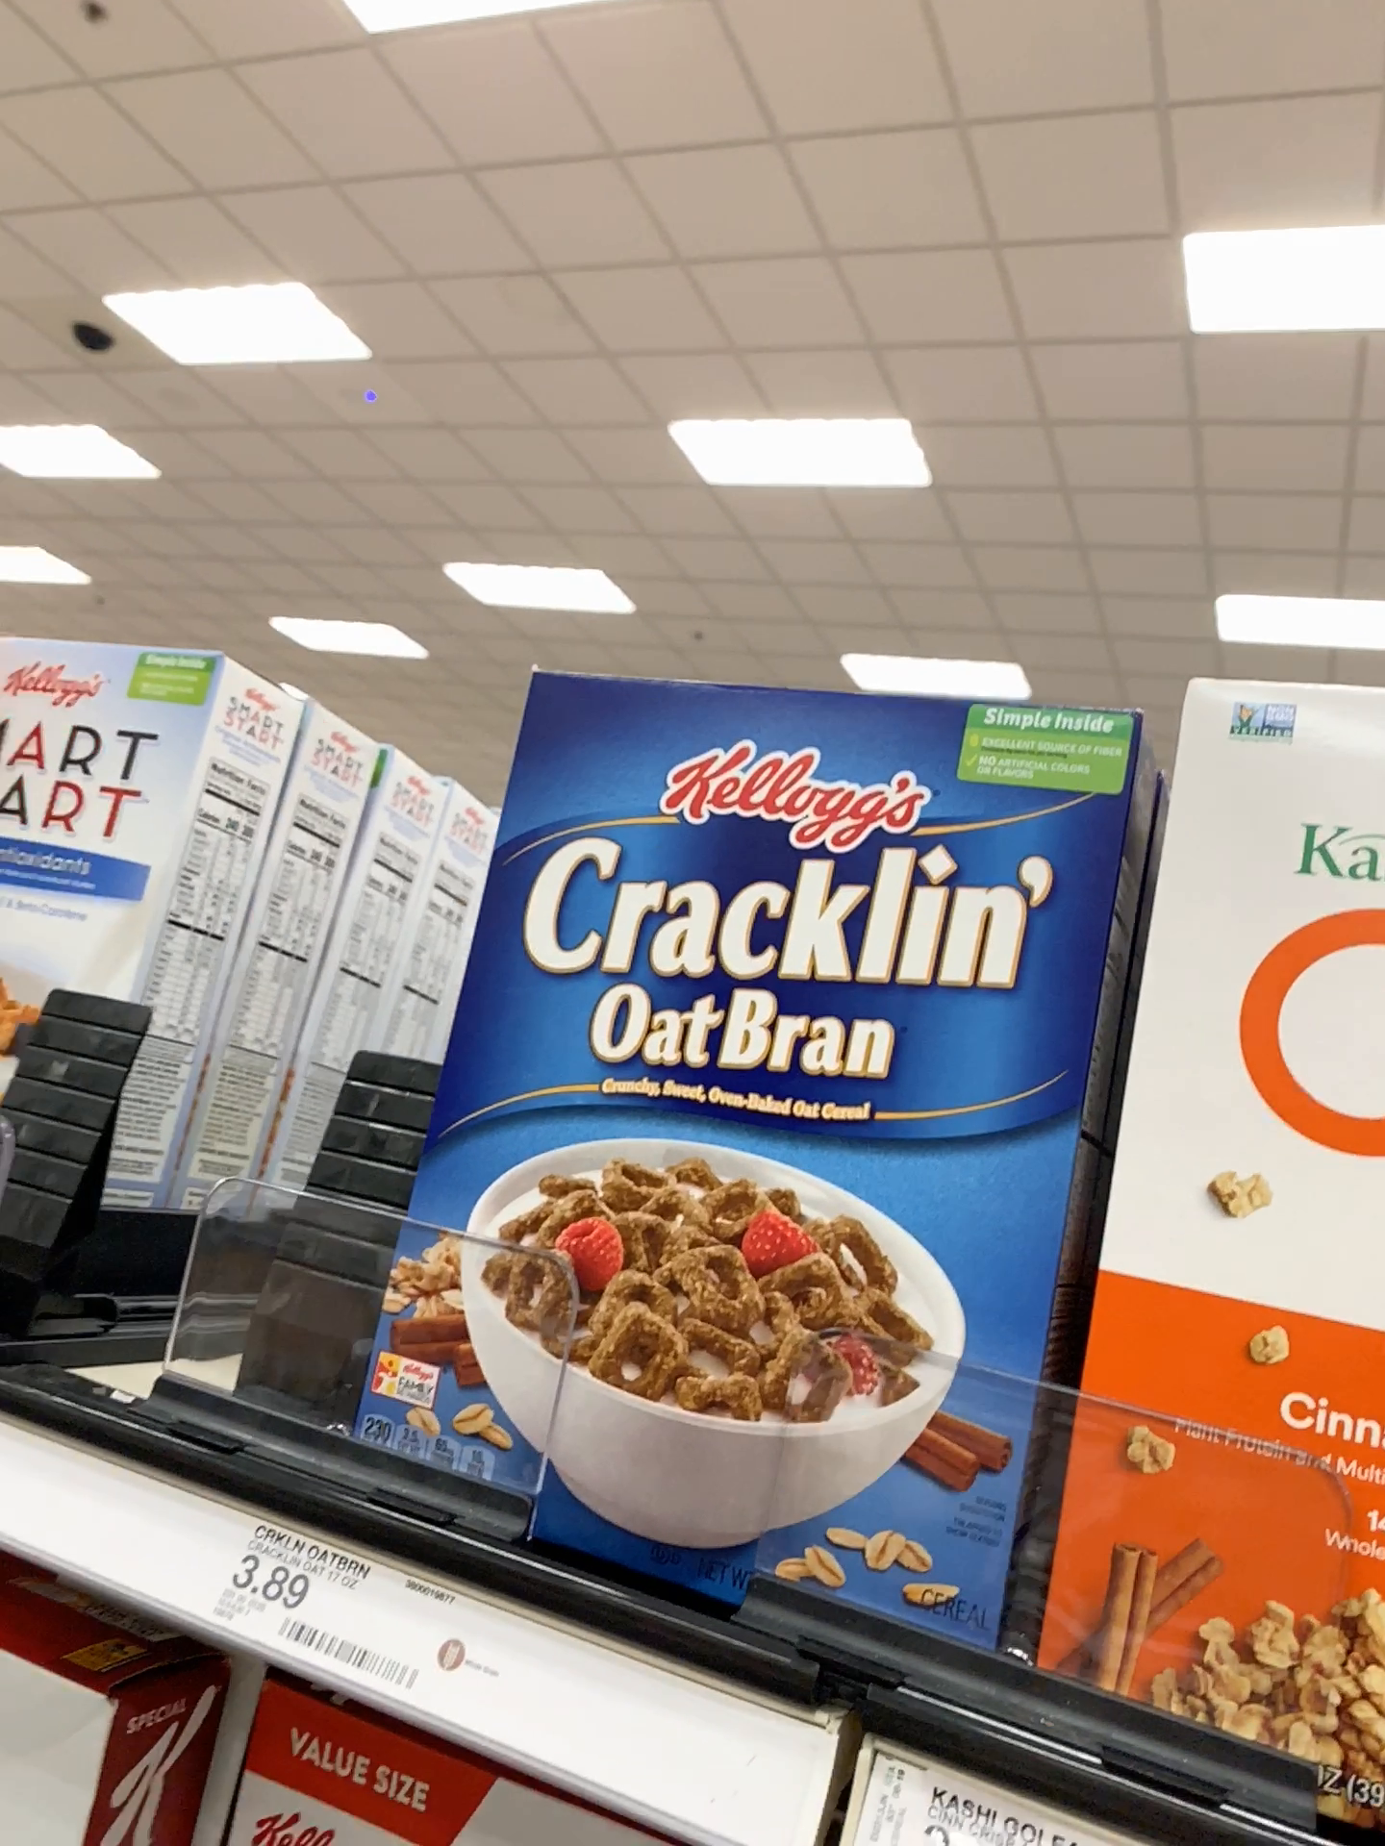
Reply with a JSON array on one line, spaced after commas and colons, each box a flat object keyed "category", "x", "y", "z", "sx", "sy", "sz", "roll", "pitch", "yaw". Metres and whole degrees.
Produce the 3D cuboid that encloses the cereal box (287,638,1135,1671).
[{"category": "cereal box", "x": 0.008, "y": 0.049, "z": 0.407, "sx": 0.190, "sy": 0.241, "sz": 0.050, "roll": 9, "pitch": -10, "yaw": 20}]
